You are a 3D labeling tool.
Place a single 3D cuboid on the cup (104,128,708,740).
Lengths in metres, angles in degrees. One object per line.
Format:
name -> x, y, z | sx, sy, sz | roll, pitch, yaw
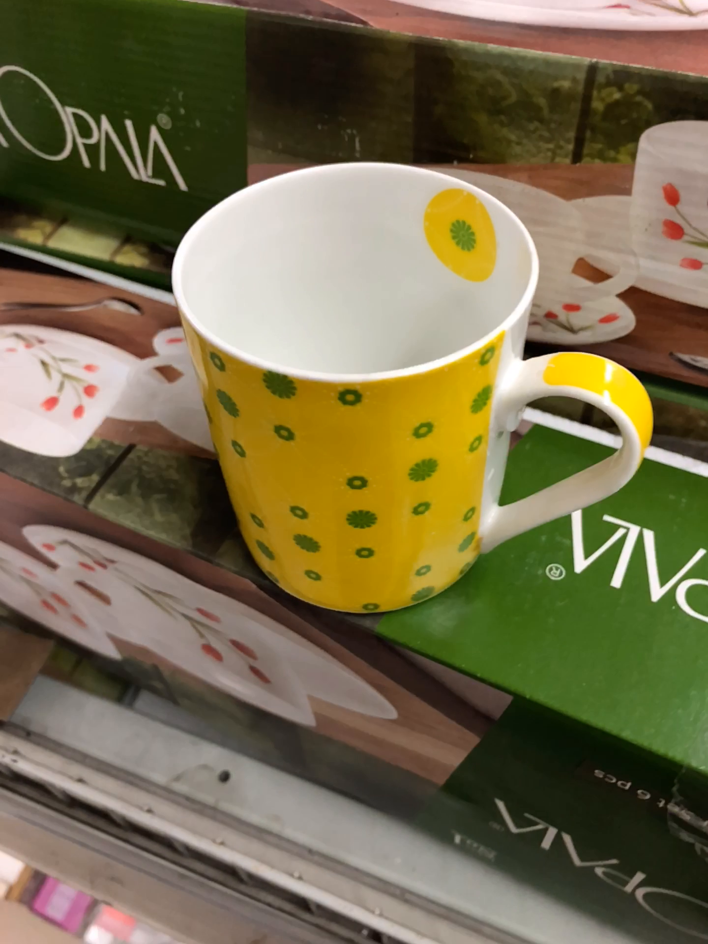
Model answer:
cup -> 0.021, -0.012, 0.192 | 0.110, 0.089, 0.080 | 19, 52, 18
